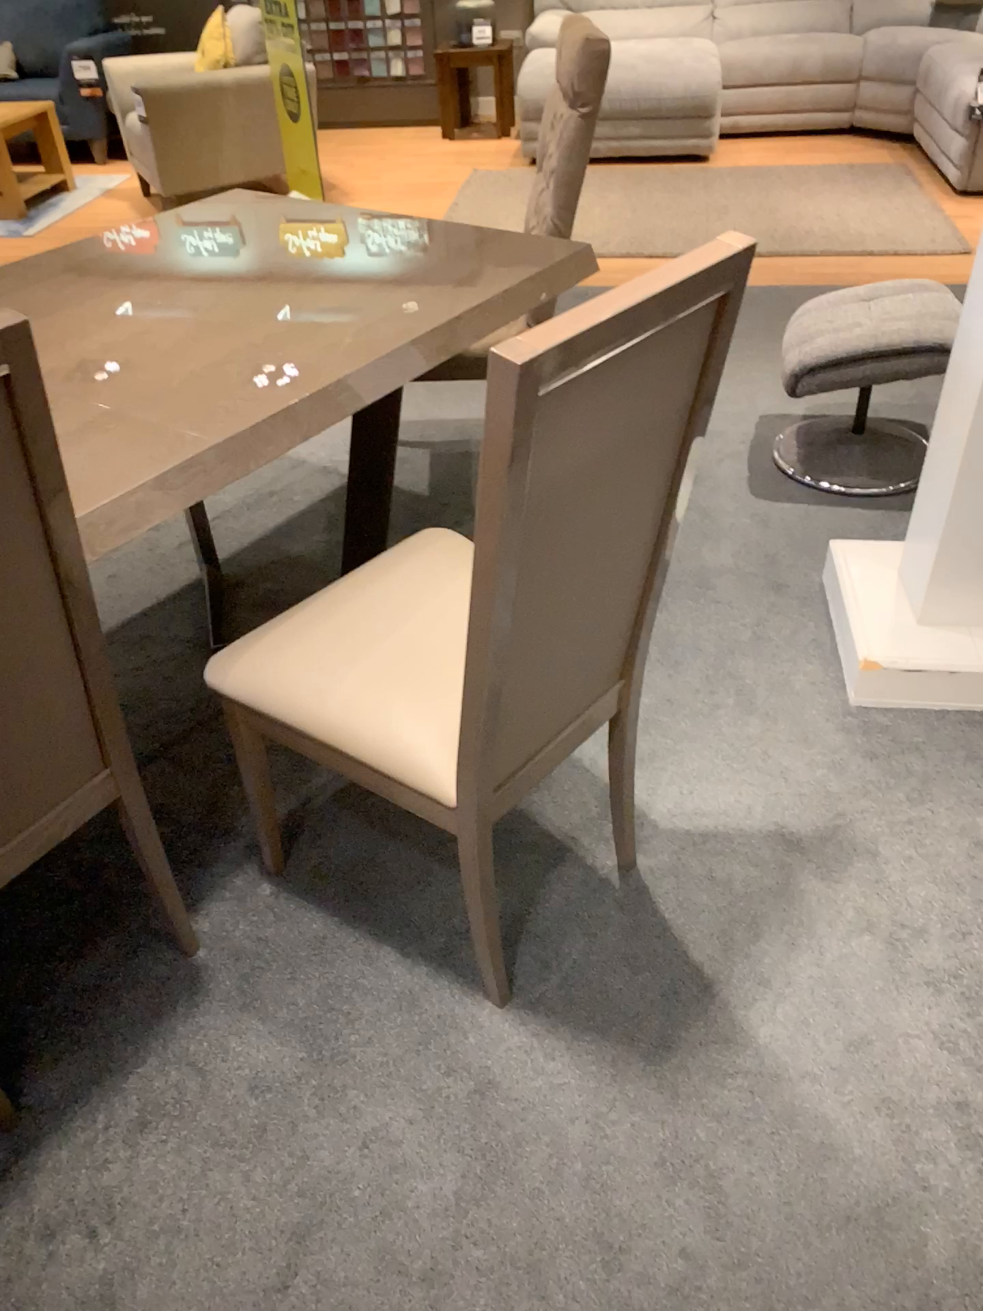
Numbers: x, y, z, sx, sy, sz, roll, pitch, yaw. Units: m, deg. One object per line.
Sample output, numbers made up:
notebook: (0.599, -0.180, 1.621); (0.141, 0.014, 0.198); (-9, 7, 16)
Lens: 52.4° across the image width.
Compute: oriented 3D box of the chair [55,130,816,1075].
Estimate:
chair: (-0.050, -0.063, 1.314); (0.584, 0.976, 0.500); (28, 47, 30)
